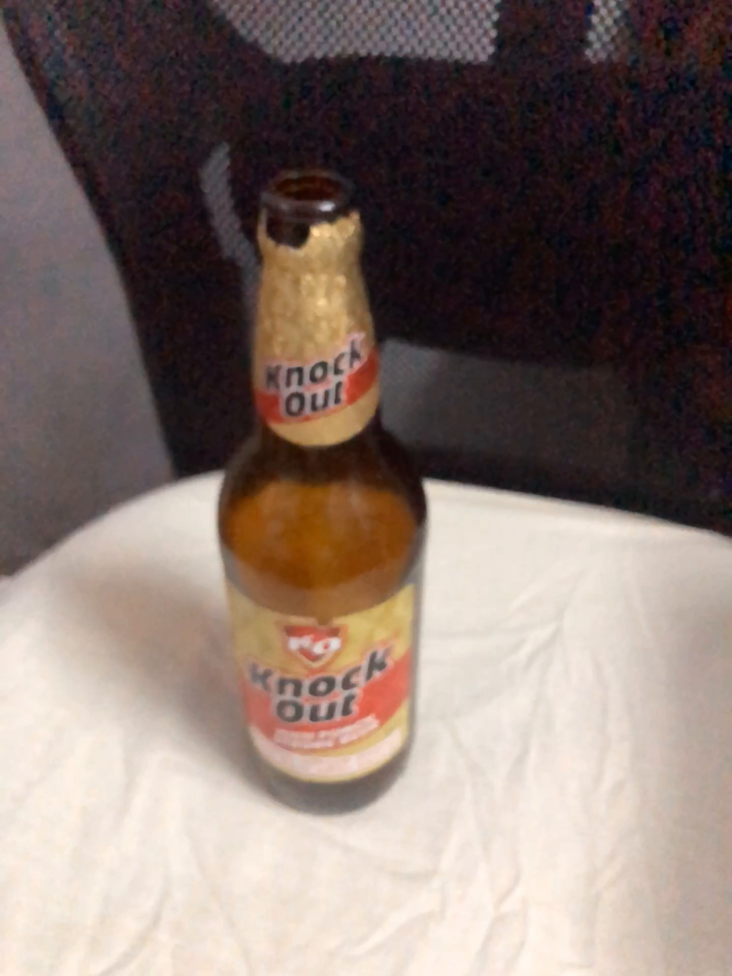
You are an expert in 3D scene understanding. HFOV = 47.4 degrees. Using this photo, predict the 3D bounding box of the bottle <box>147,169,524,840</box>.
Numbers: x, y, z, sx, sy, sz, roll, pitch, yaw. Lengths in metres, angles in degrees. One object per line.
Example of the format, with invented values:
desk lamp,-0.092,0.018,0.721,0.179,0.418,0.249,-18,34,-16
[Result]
bottle,-0.010,0.029,0.286,0.080,0.249,0.070,0,42,-2
